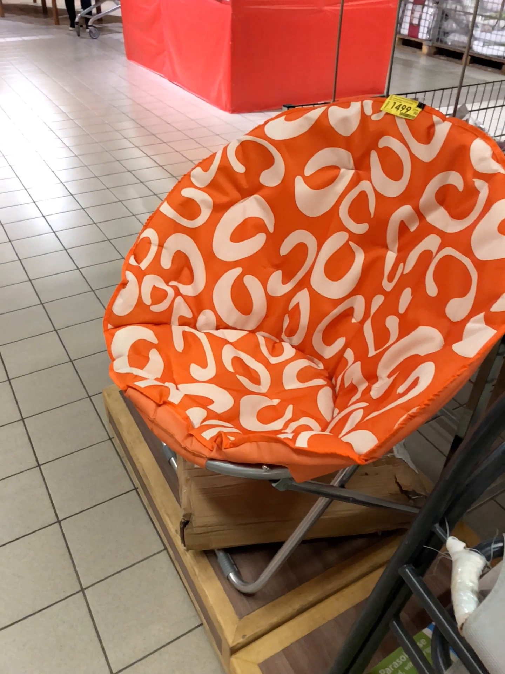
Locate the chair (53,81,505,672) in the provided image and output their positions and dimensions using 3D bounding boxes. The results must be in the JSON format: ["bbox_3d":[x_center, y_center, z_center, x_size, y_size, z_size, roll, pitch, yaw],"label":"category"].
[{"bbox_3d":[0.119,-0.045,1.022,0.711,0.605,0.737,-15,39,-22],"label":"chair"}]
